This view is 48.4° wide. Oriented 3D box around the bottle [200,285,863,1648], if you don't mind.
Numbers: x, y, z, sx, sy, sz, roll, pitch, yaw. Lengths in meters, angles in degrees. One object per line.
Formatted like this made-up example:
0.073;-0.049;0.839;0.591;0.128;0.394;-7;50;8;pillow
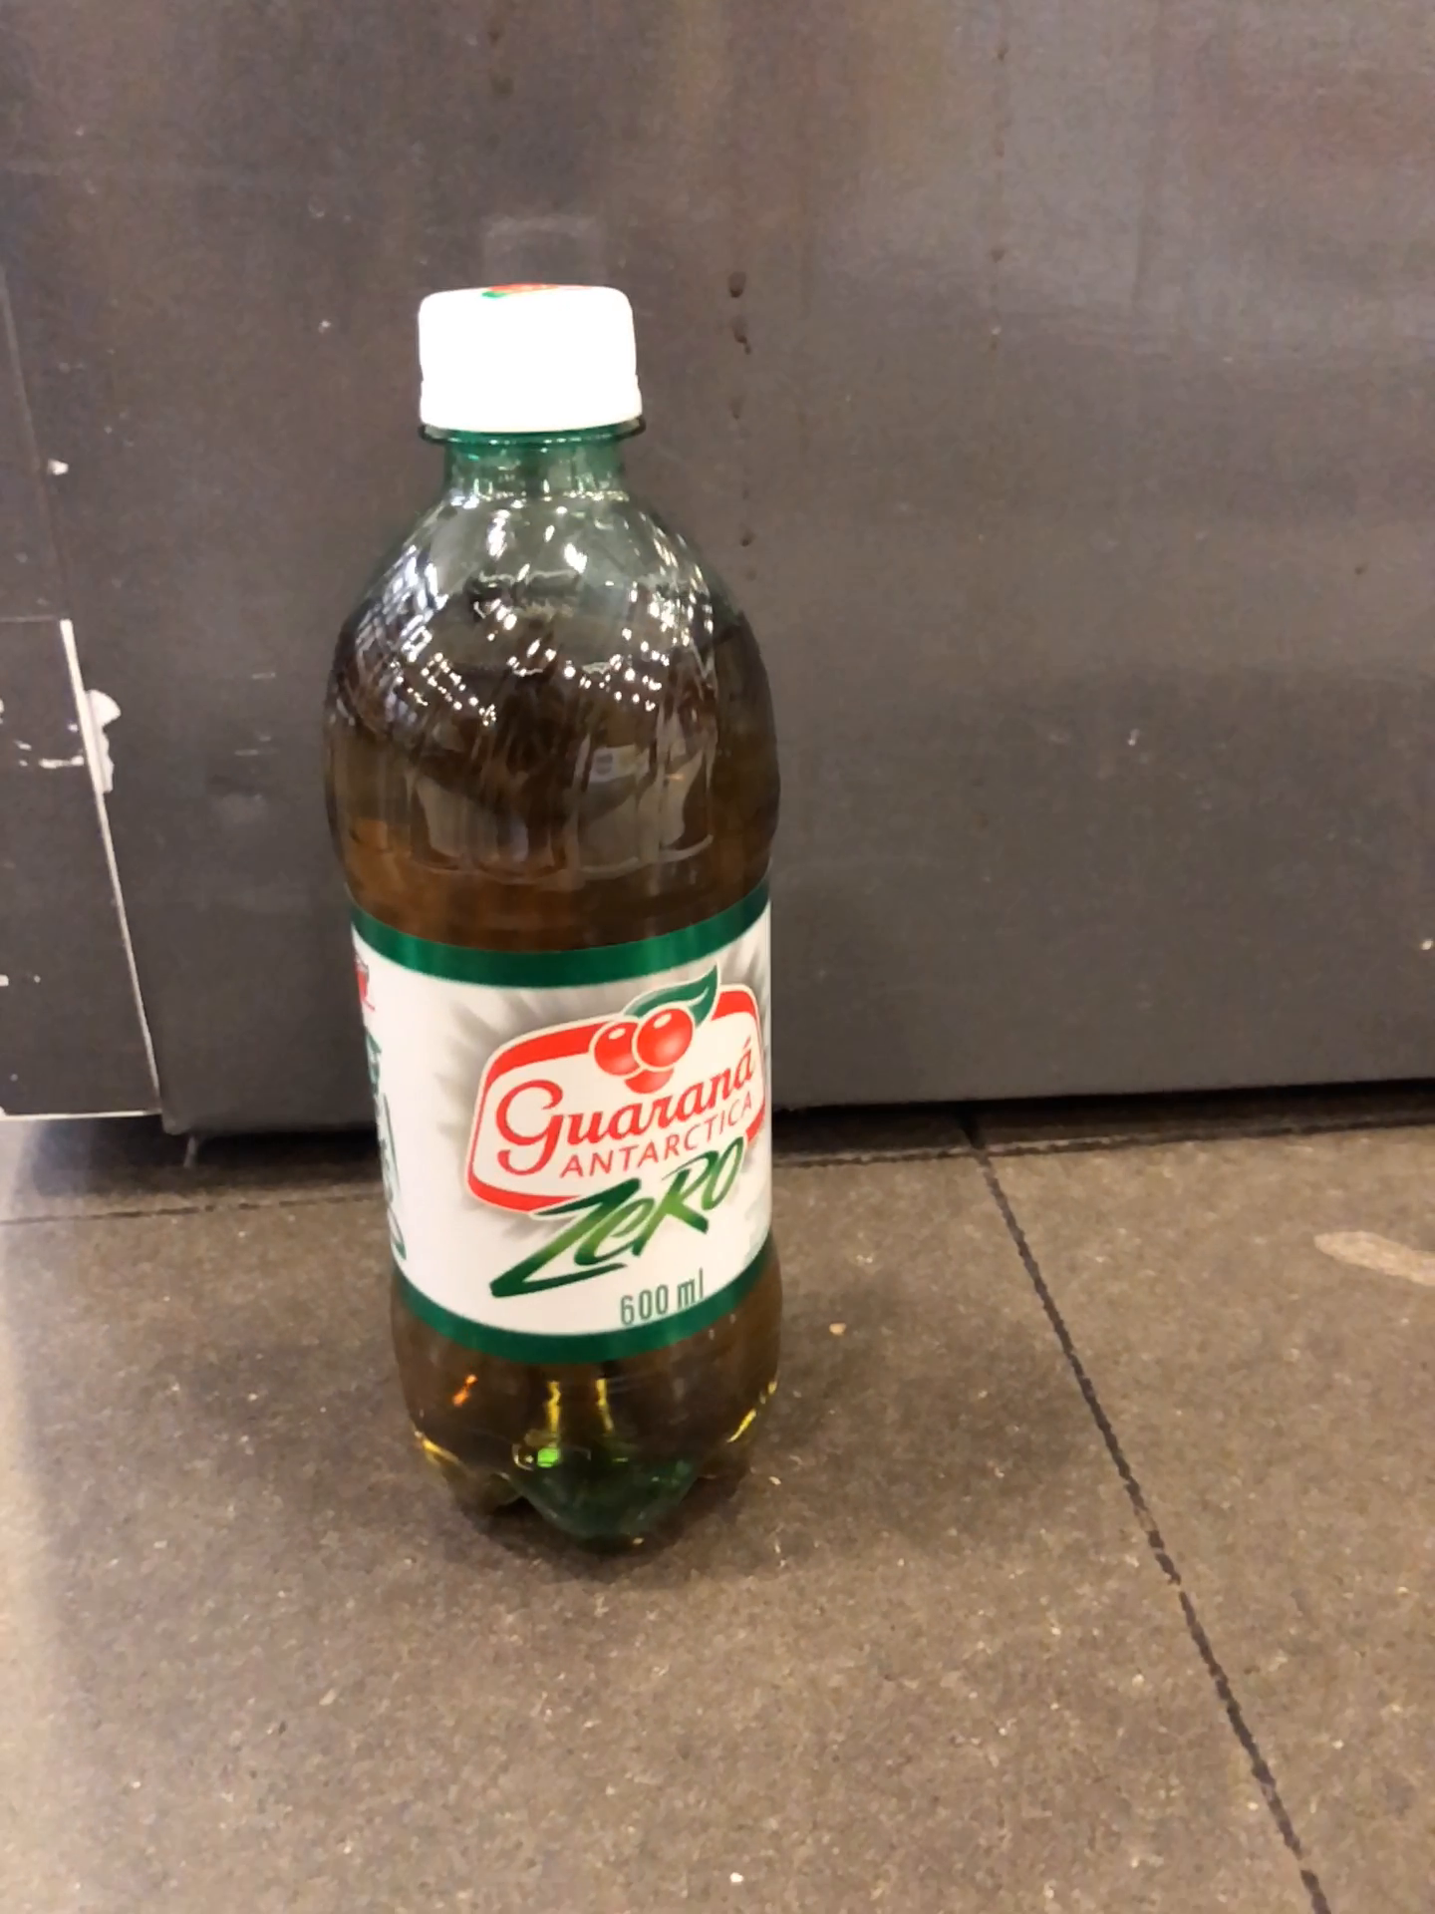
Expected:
-0.029;0.003;0.269;0.080;0.209;0.070;-8;26;-16;bottle
